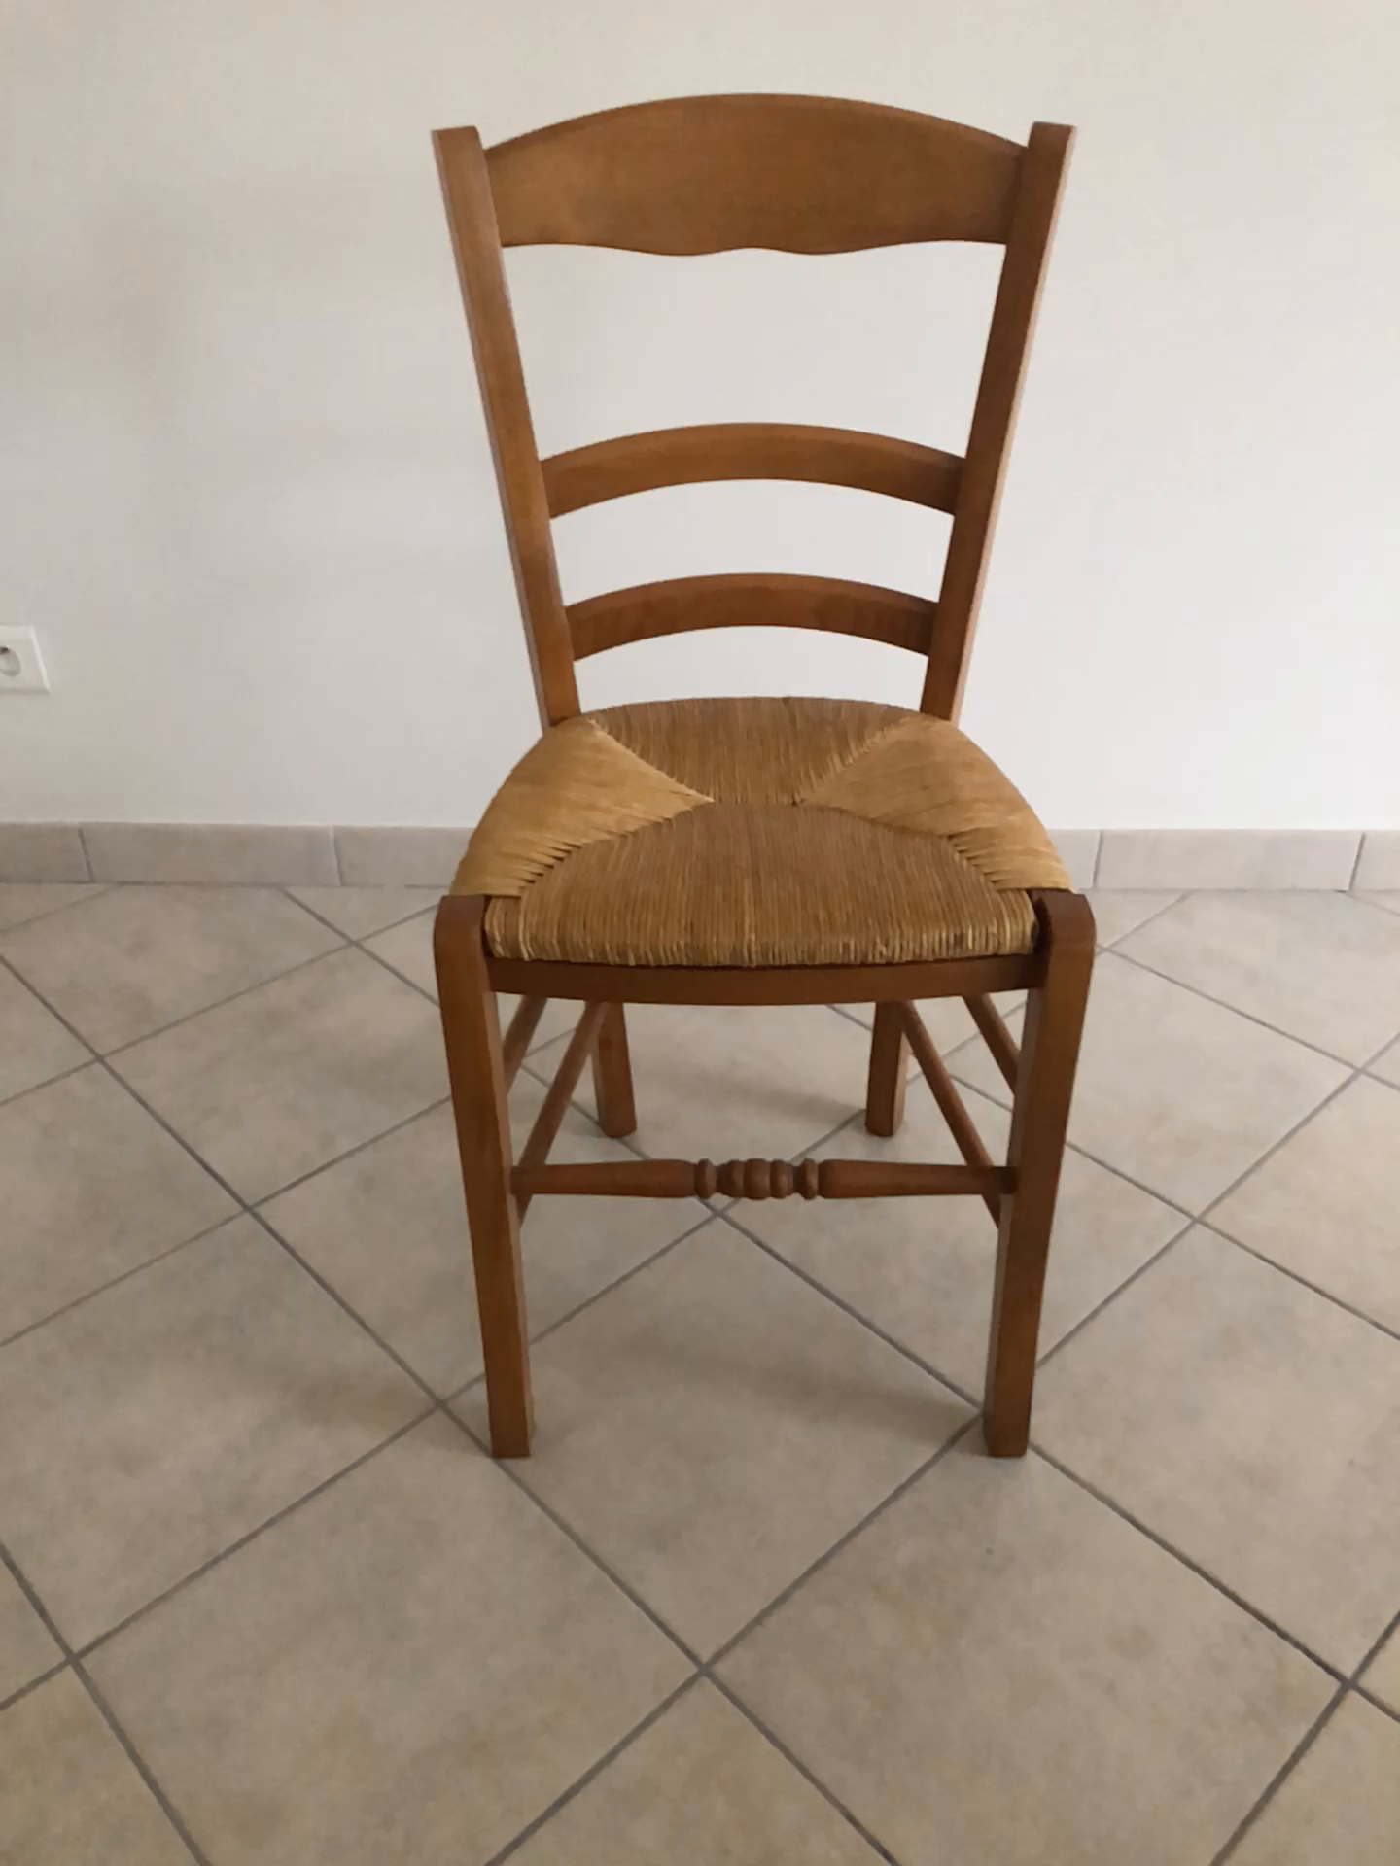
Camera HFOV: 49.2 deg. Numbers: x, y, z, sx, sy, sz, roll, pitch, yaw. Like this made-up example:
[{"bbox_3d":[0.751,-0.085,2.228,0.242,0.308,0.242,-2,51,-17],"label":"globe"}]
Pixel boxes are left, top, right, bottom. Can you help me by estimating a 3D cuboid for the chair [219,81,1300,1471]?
[{"bbox_3d":[0.033,-0.101,1.073,0.450,0.825,0.503,-1,34,1],"label":"chair"}]
